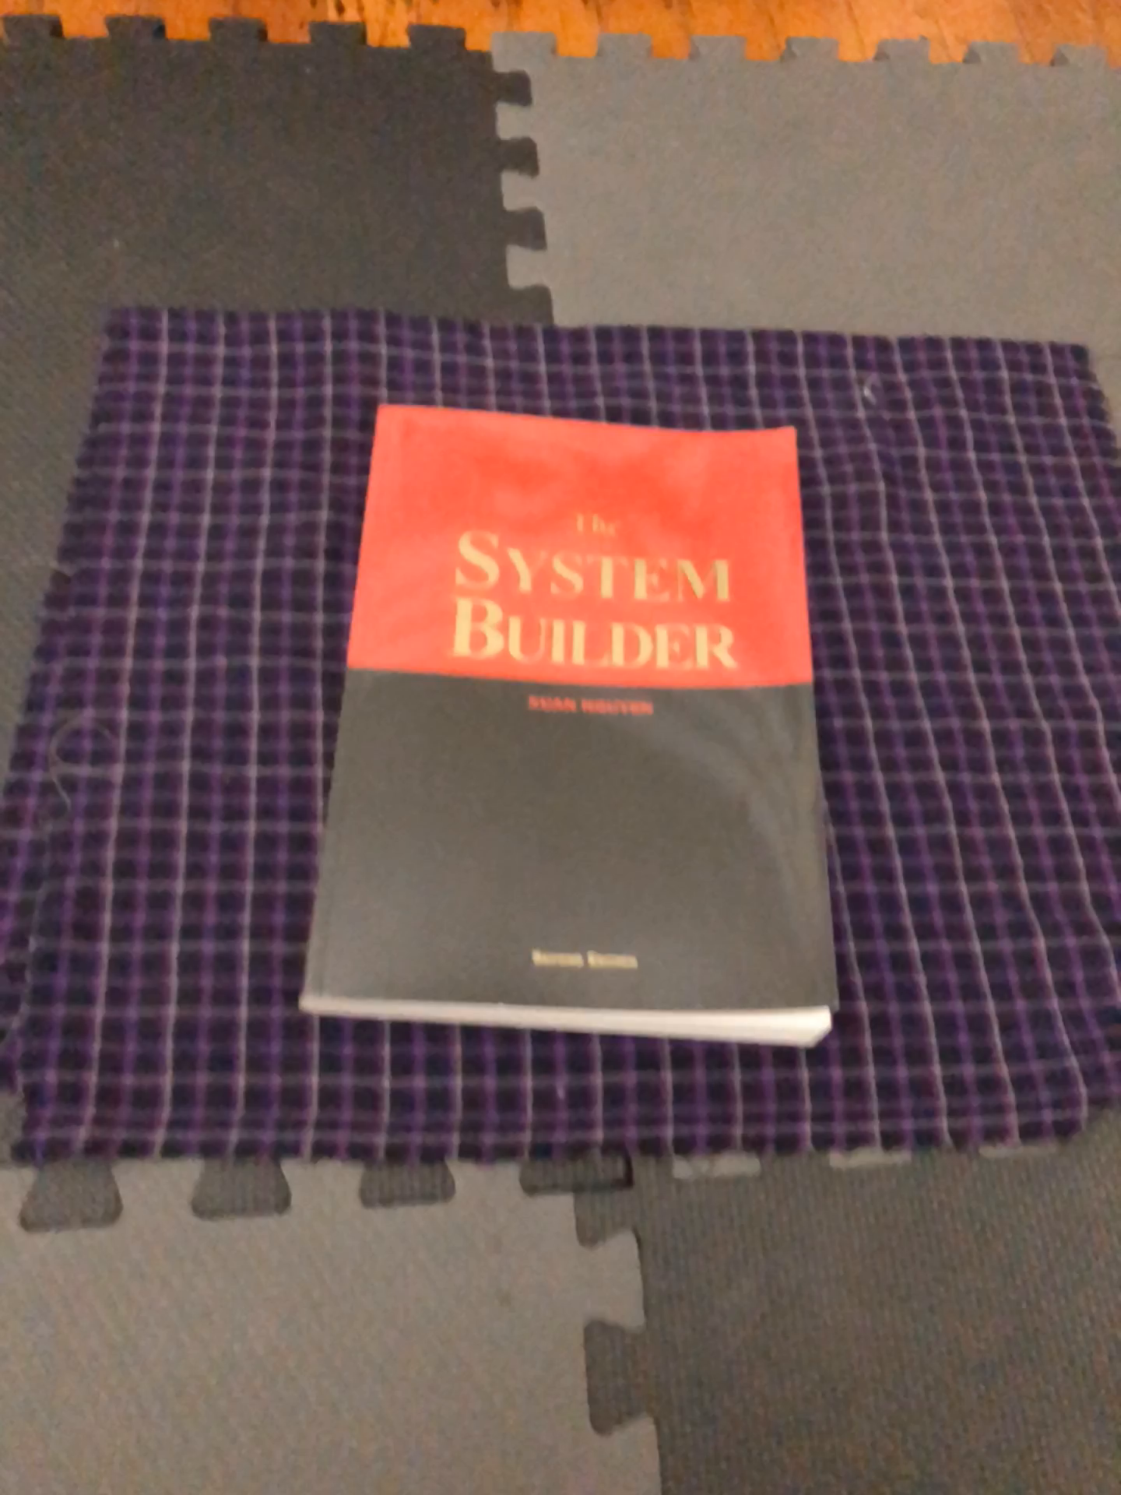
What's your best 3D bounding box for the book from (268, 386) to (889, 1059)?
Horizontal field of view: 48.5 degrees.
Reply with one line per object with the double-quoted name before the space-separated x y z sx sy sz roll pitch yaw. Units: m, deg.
"book" 0.010 -0.021 0.473 0.200 0.030 0.261 4 62 -3
